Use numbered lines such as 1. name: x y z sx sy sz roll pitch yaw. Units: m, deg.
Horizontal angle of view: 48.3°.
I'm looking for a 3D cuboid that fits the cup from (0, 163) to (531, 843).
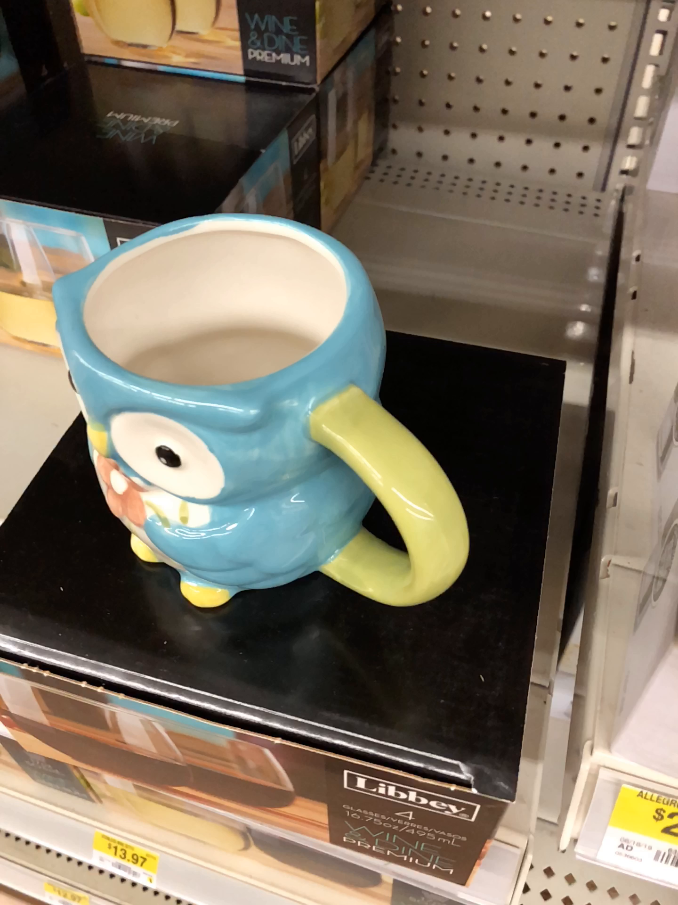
1. cup: -0.037 0.007 0.220 0.090 0.110 0.140 -31 53 -24
